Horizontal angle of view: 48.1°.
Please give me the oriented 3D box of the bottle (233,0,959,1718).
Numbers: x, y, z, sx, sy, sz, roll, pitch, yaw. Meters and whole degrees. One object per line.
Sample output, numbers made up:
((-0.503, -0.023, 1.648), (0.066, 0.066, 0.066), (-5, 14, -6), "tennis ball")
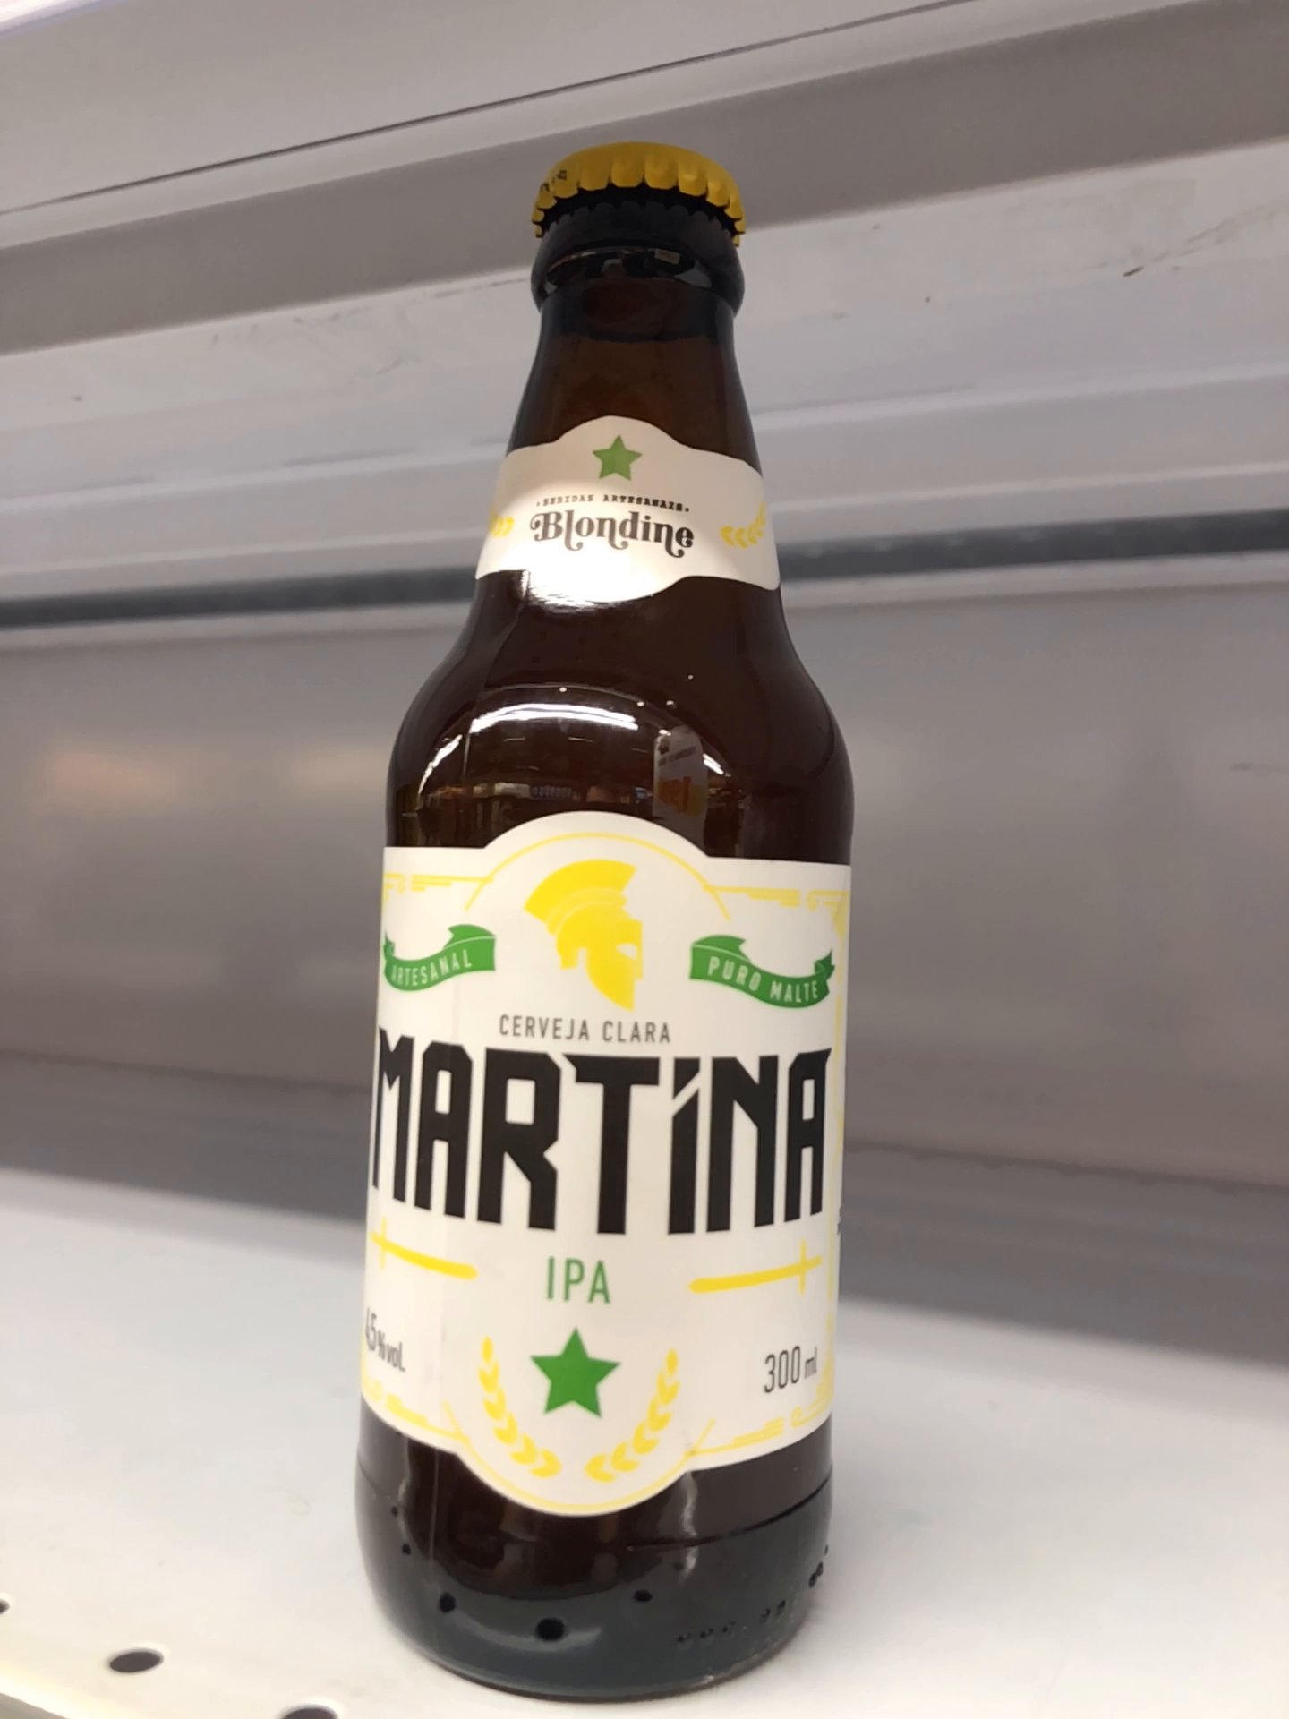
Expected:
((-0.004, -0.007, 0.179), (0.070, 0.190, 0.060), (1, -1, 1), "bottle")
